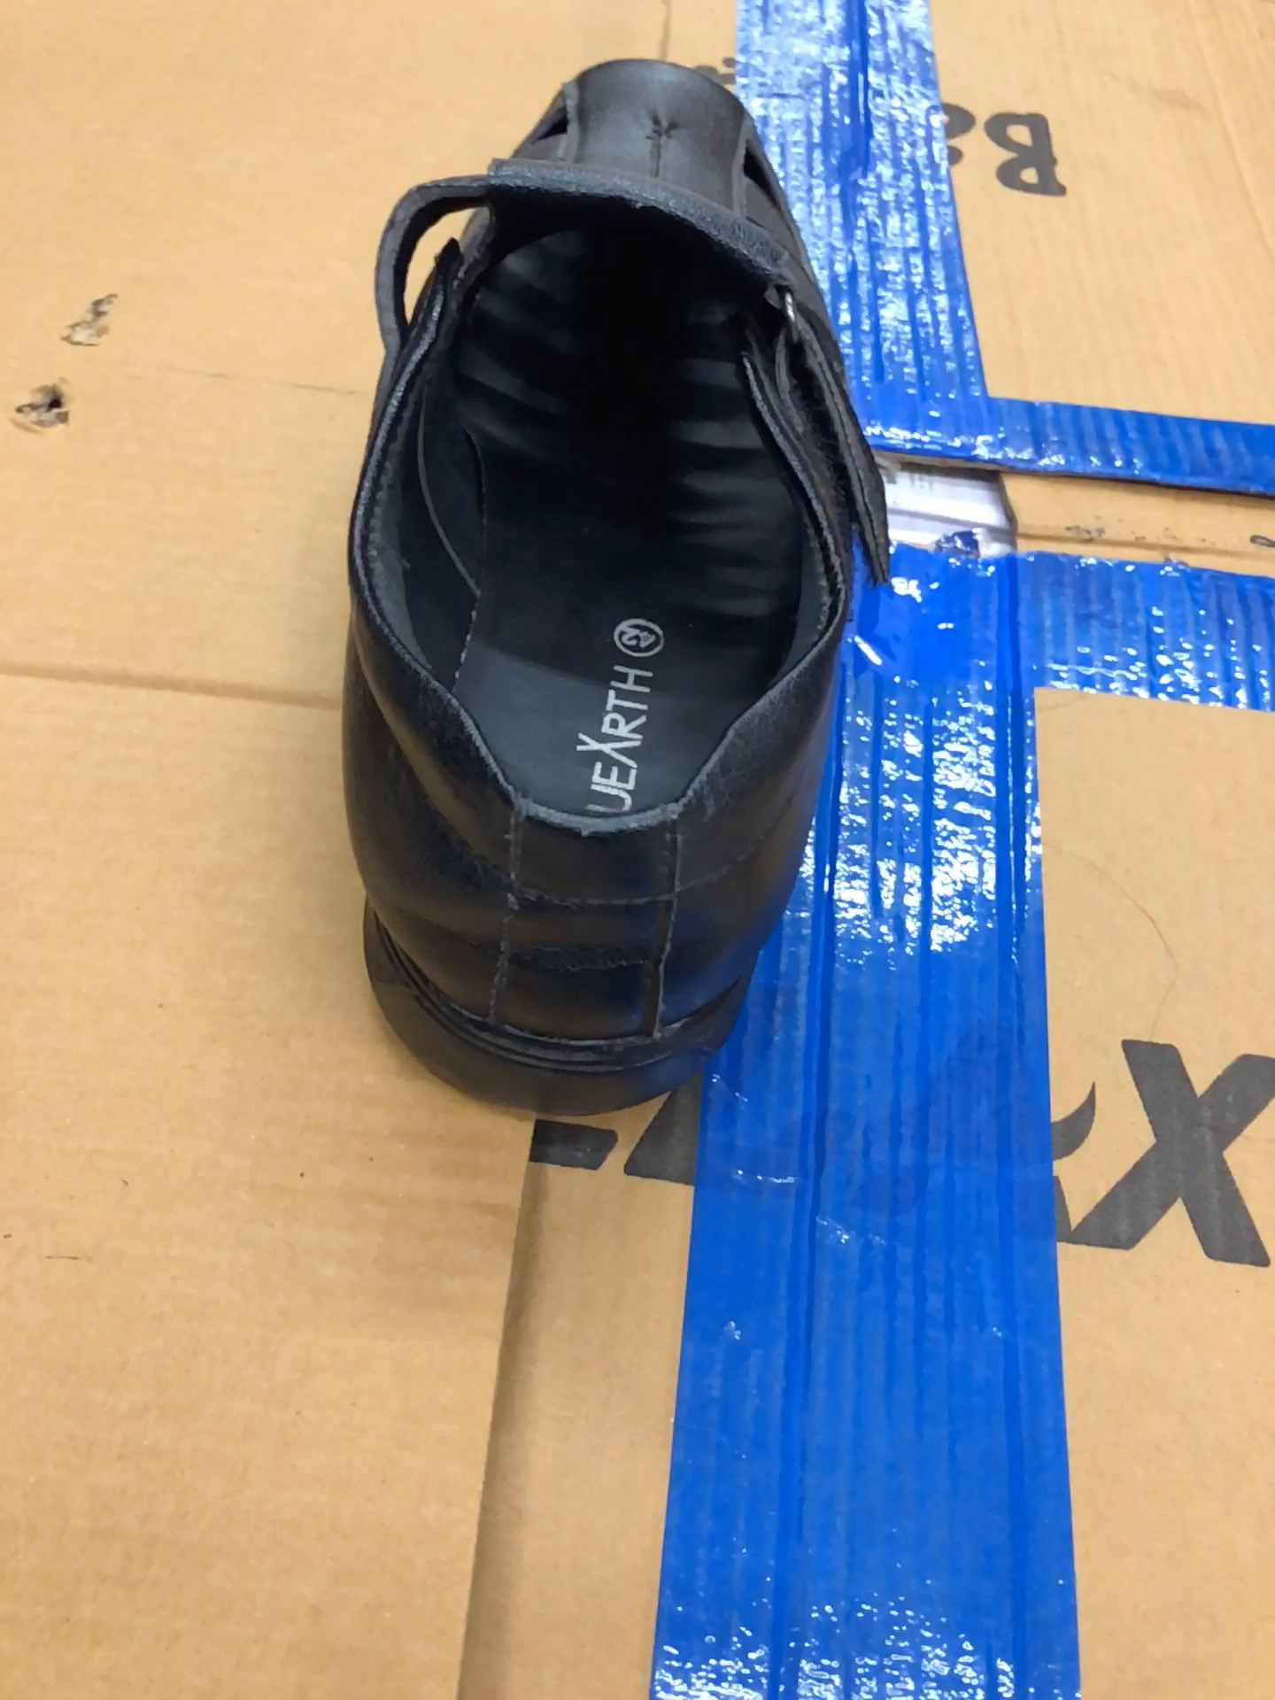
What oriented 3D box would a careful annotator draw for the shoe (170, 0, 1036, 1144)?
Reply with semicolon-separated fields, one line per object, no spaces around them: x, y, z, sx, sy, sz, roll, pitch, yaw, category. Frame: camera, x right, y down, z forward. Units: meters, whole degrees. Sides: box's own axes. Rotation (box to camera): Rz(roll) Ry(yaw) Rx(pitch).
0.000;-0.107;0.288;0.100;0.097;0.305;5;57;-3;shoe
